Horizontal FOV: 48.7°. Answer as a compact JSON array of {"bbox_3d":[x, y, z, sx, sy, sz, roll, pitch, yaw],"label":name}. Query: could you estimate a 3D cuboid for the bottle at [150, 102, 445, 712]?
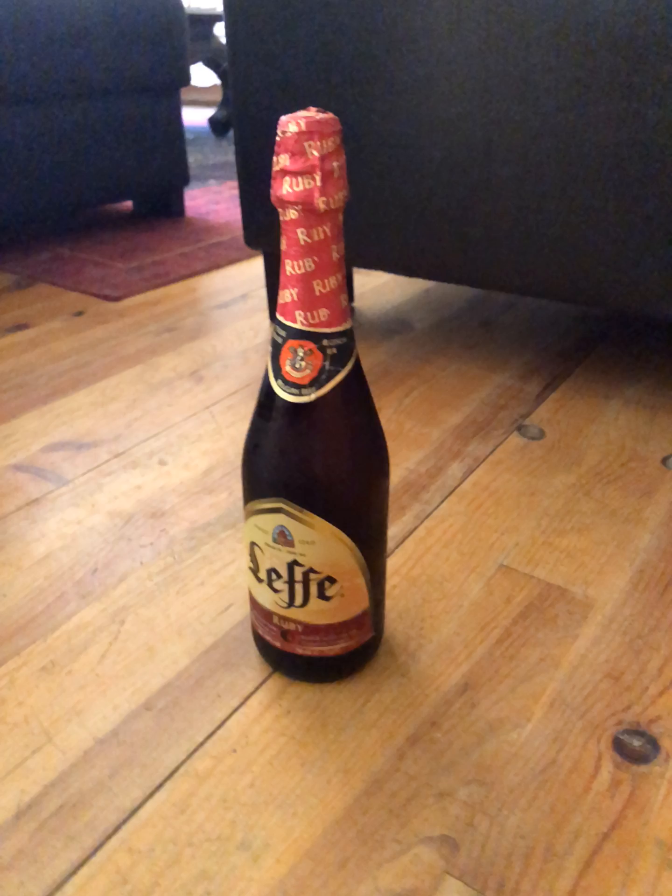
[{"bbox_3d":[-0.011,-0.015,0.382,0.090,0.288,0.091,-1,29,0],"label":"bottle"}]
